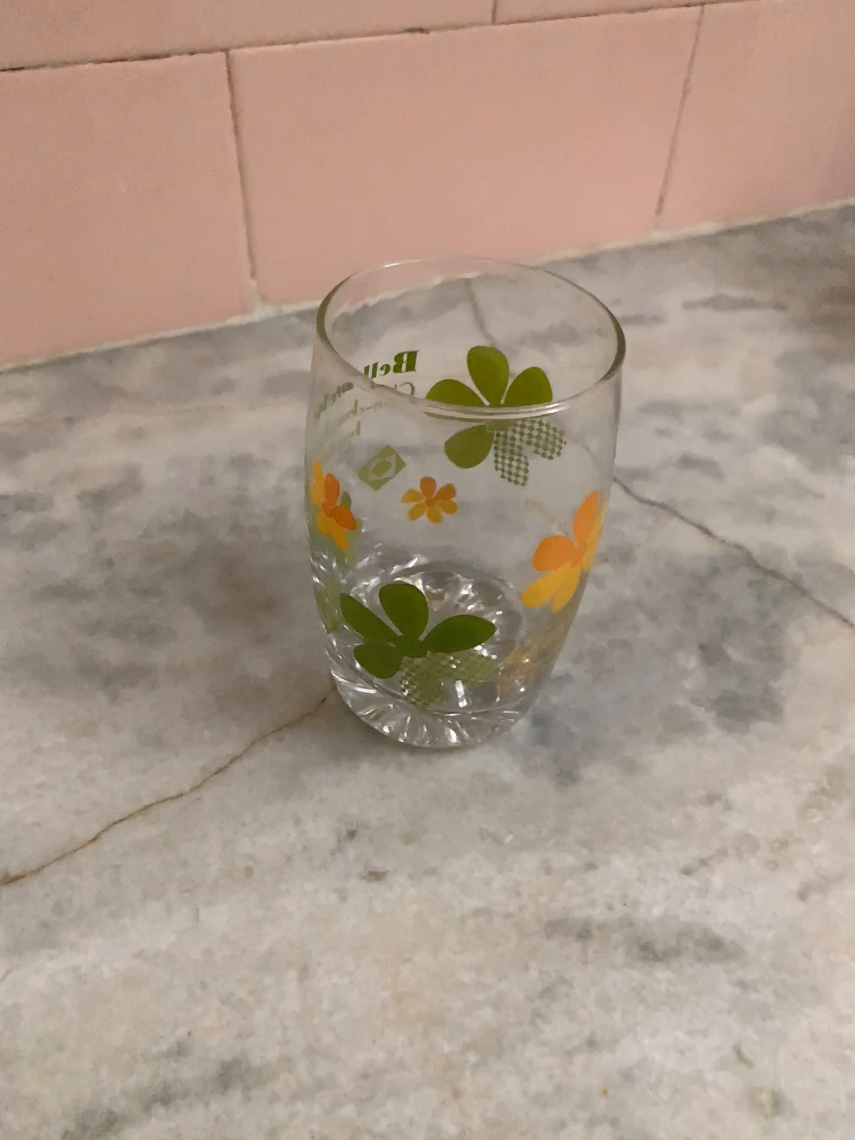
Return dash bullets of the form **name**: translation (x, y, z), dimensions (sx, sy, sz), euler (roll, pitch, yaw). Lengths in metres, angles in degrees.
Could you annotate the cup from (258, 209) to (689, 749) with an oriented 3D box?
- **cup**: translation (0.006, -0.017, 0.206), dimensions (0.070, 0.100, 0.070), euler (1, 45, -1)
